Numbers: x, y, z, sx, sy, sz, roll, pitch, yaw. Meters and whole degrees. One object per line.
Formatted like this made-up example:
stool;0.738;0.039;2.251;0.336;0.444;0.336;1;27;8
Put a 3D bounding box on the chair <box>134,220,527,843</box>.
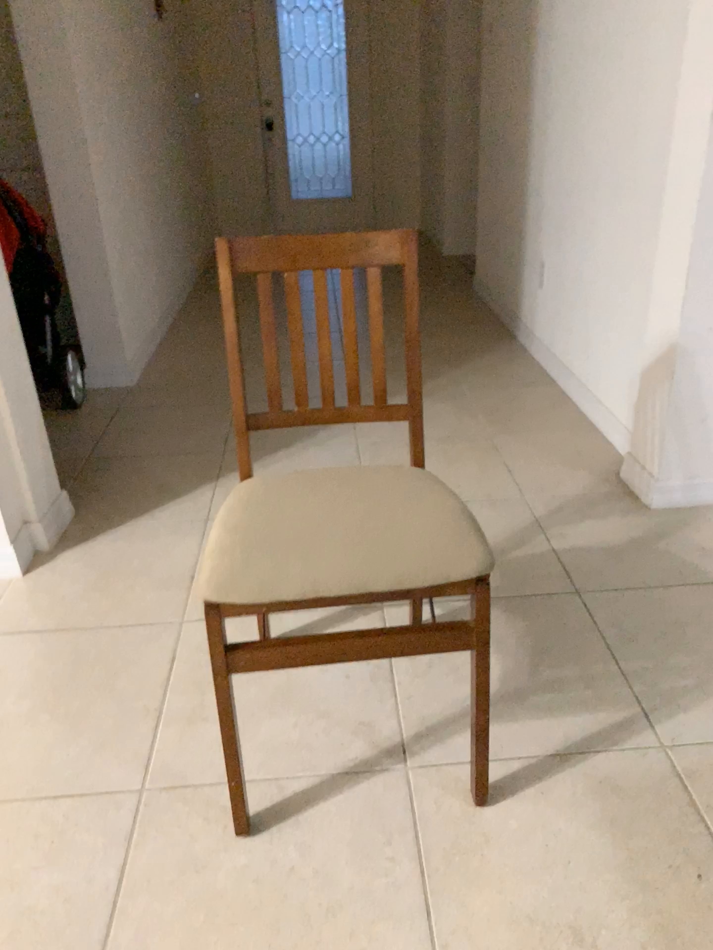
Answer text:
chair;-0.031;0.064;1.293;0.450;0.882;0.595;-4;26;-3
